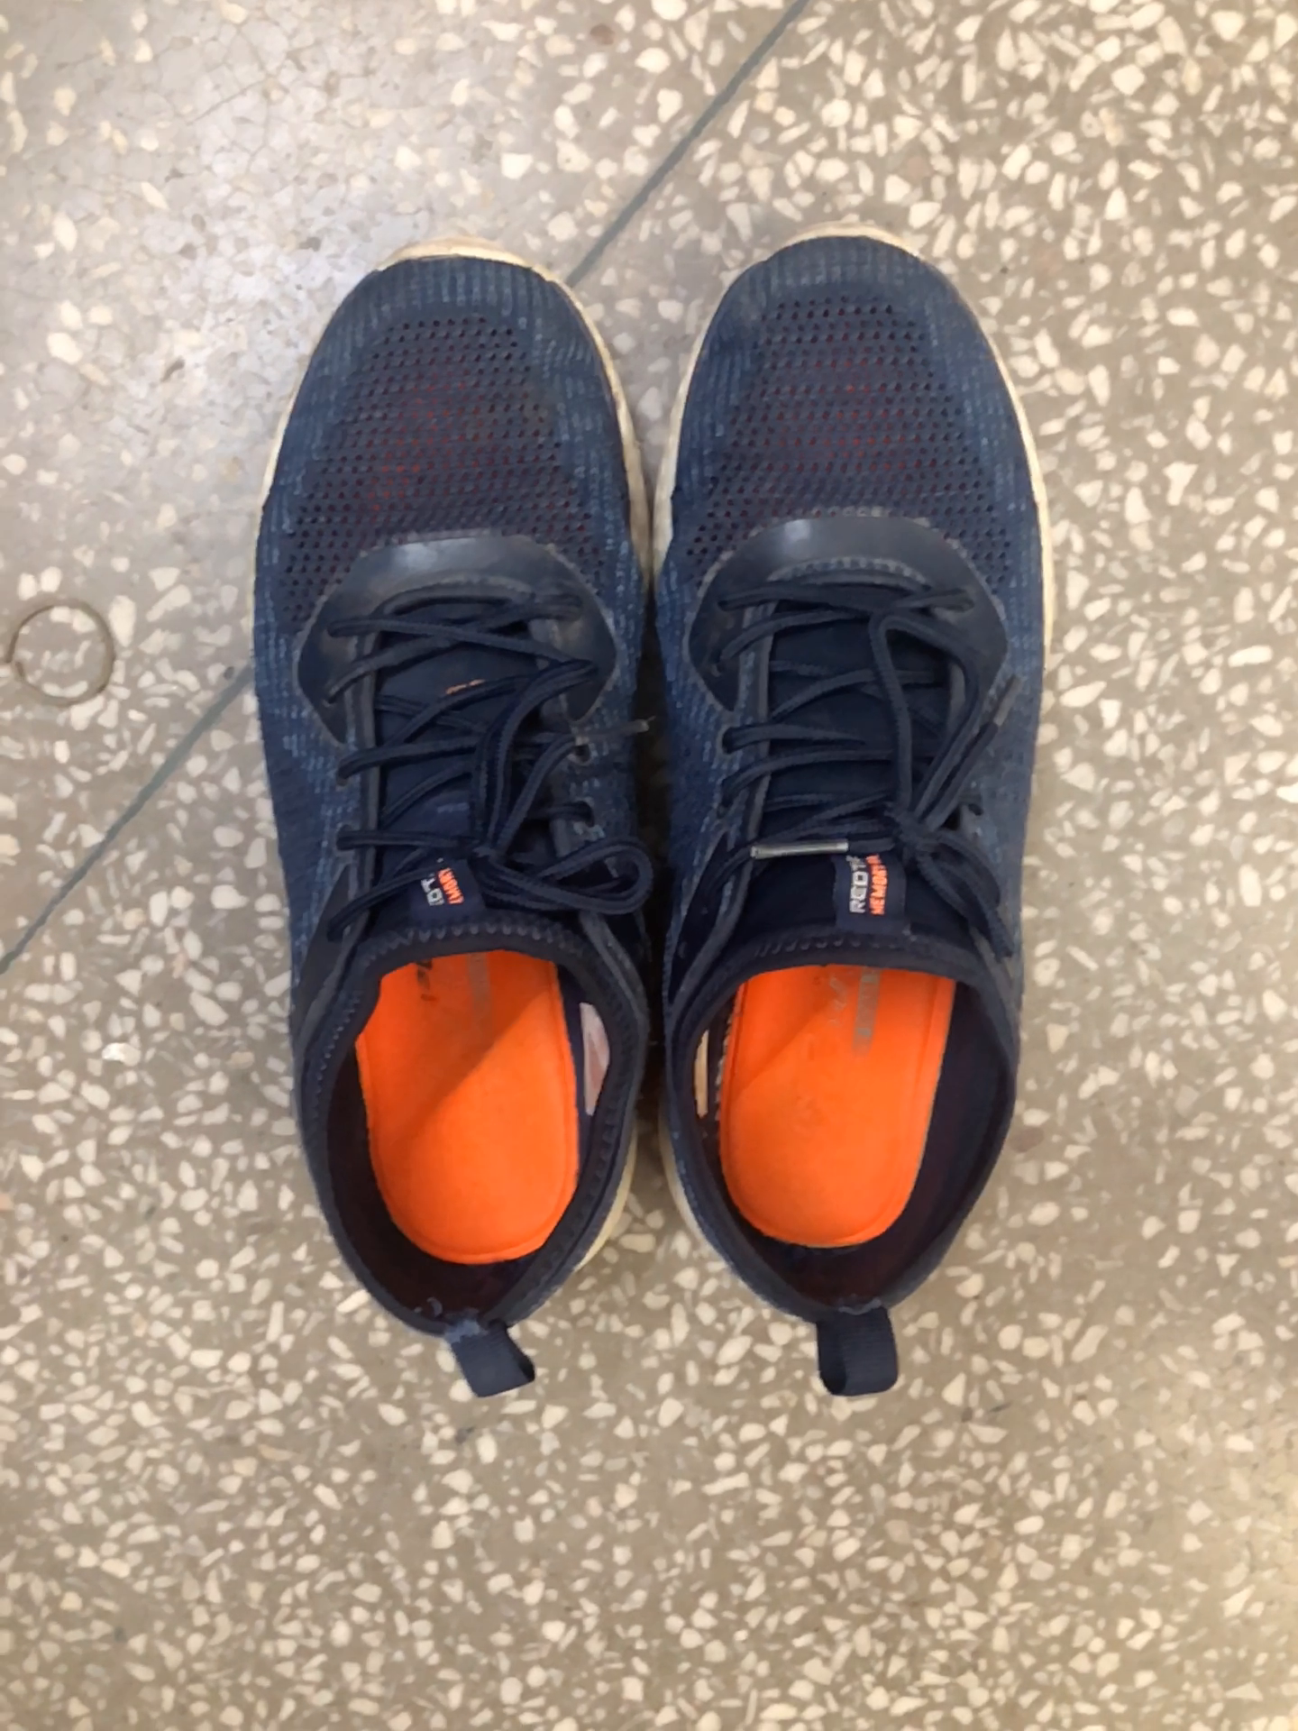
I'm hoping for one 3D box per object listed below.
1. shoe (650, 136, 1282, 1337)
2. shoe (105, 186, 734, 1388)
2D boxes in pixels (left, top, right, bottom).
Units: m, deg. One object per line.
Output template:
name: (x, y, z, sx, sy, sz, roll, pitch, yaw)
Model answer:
shoe: (0.065, -0.026, 0.352, 0.123, 0.100, 0.249, -1, 100, 0)
shoe: (-0.044, -0.016, 0.354, 0.113, 0.100, 0.249, -3, 100, 1)
